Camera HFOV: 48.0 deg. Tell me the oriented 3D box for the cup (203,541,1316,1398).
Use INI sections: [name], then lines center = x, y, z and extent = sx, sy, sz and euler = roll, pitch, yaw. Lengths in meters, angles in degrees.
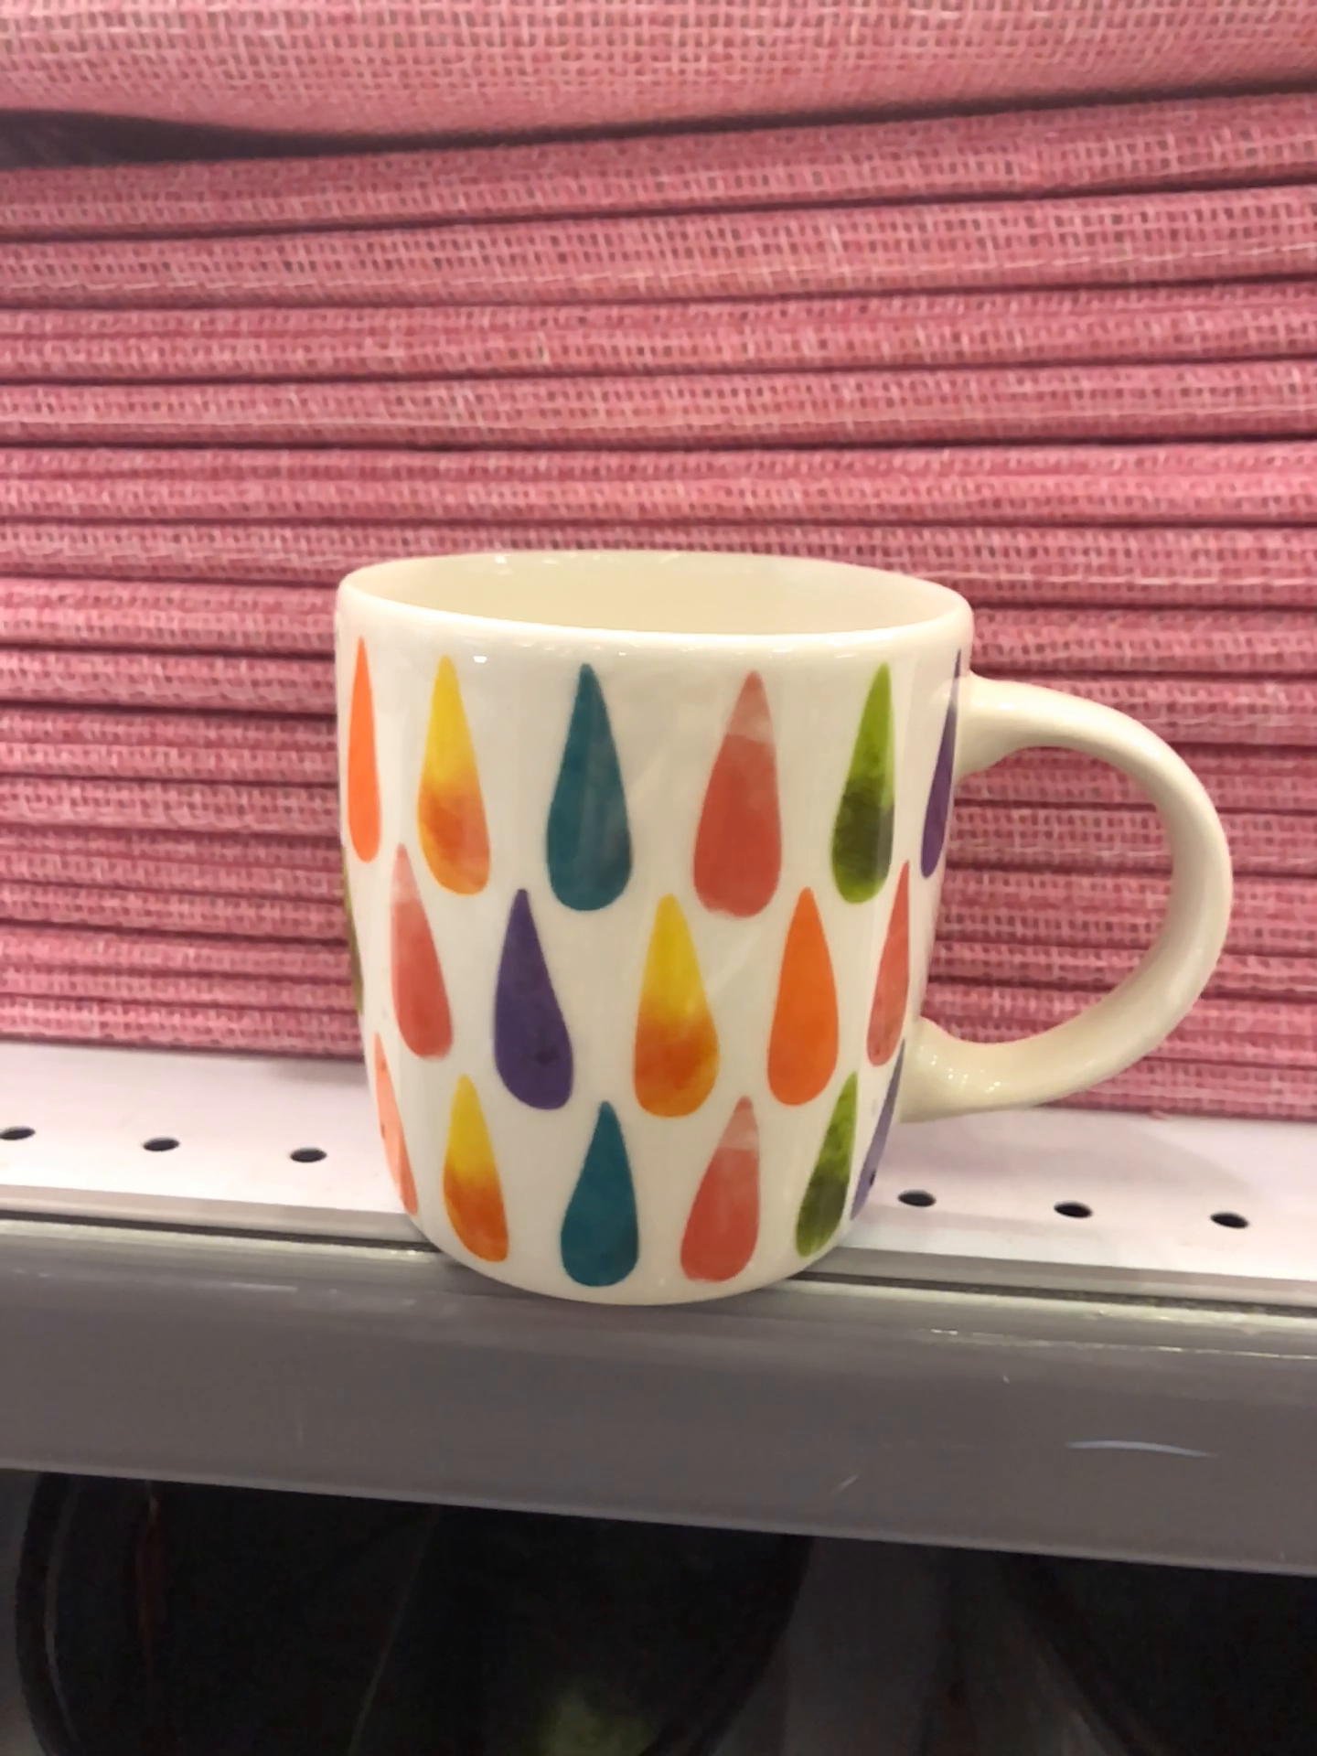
[cup]
center = 0.016, 0.004, 0.215
extent = 0.130, 0.090, 0.091
euler = 3, 17, 2
